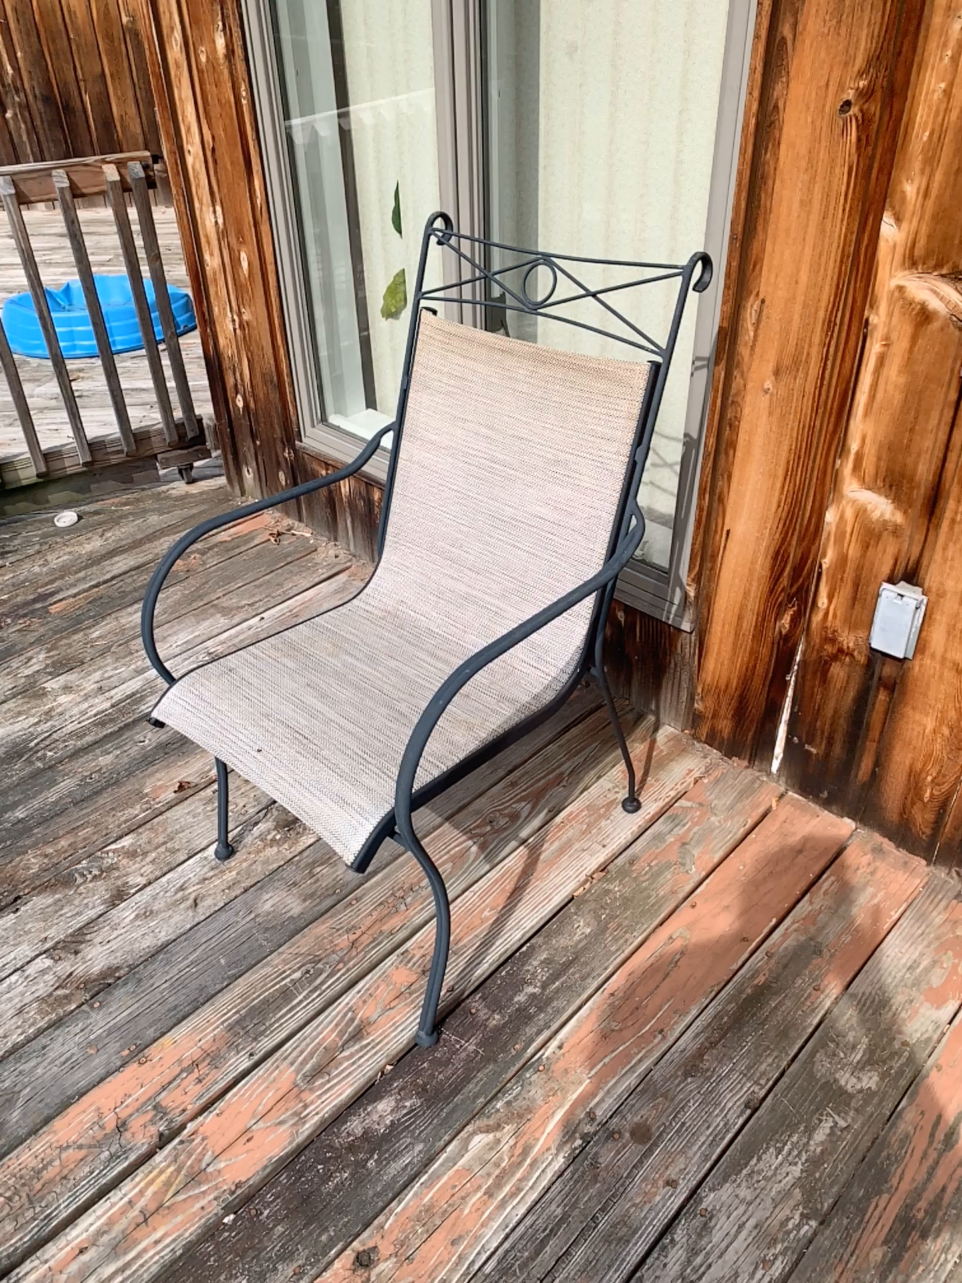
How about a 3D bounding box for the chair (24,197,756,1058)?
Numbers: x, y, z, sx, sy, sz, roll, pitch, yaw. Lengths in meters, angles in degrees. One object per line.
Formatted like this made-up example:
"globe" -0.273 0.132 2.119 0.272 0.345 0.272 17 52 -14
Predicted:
"chair" -0.092 -0.065 1.460 0.612 0.944 0.652 27 44 34
